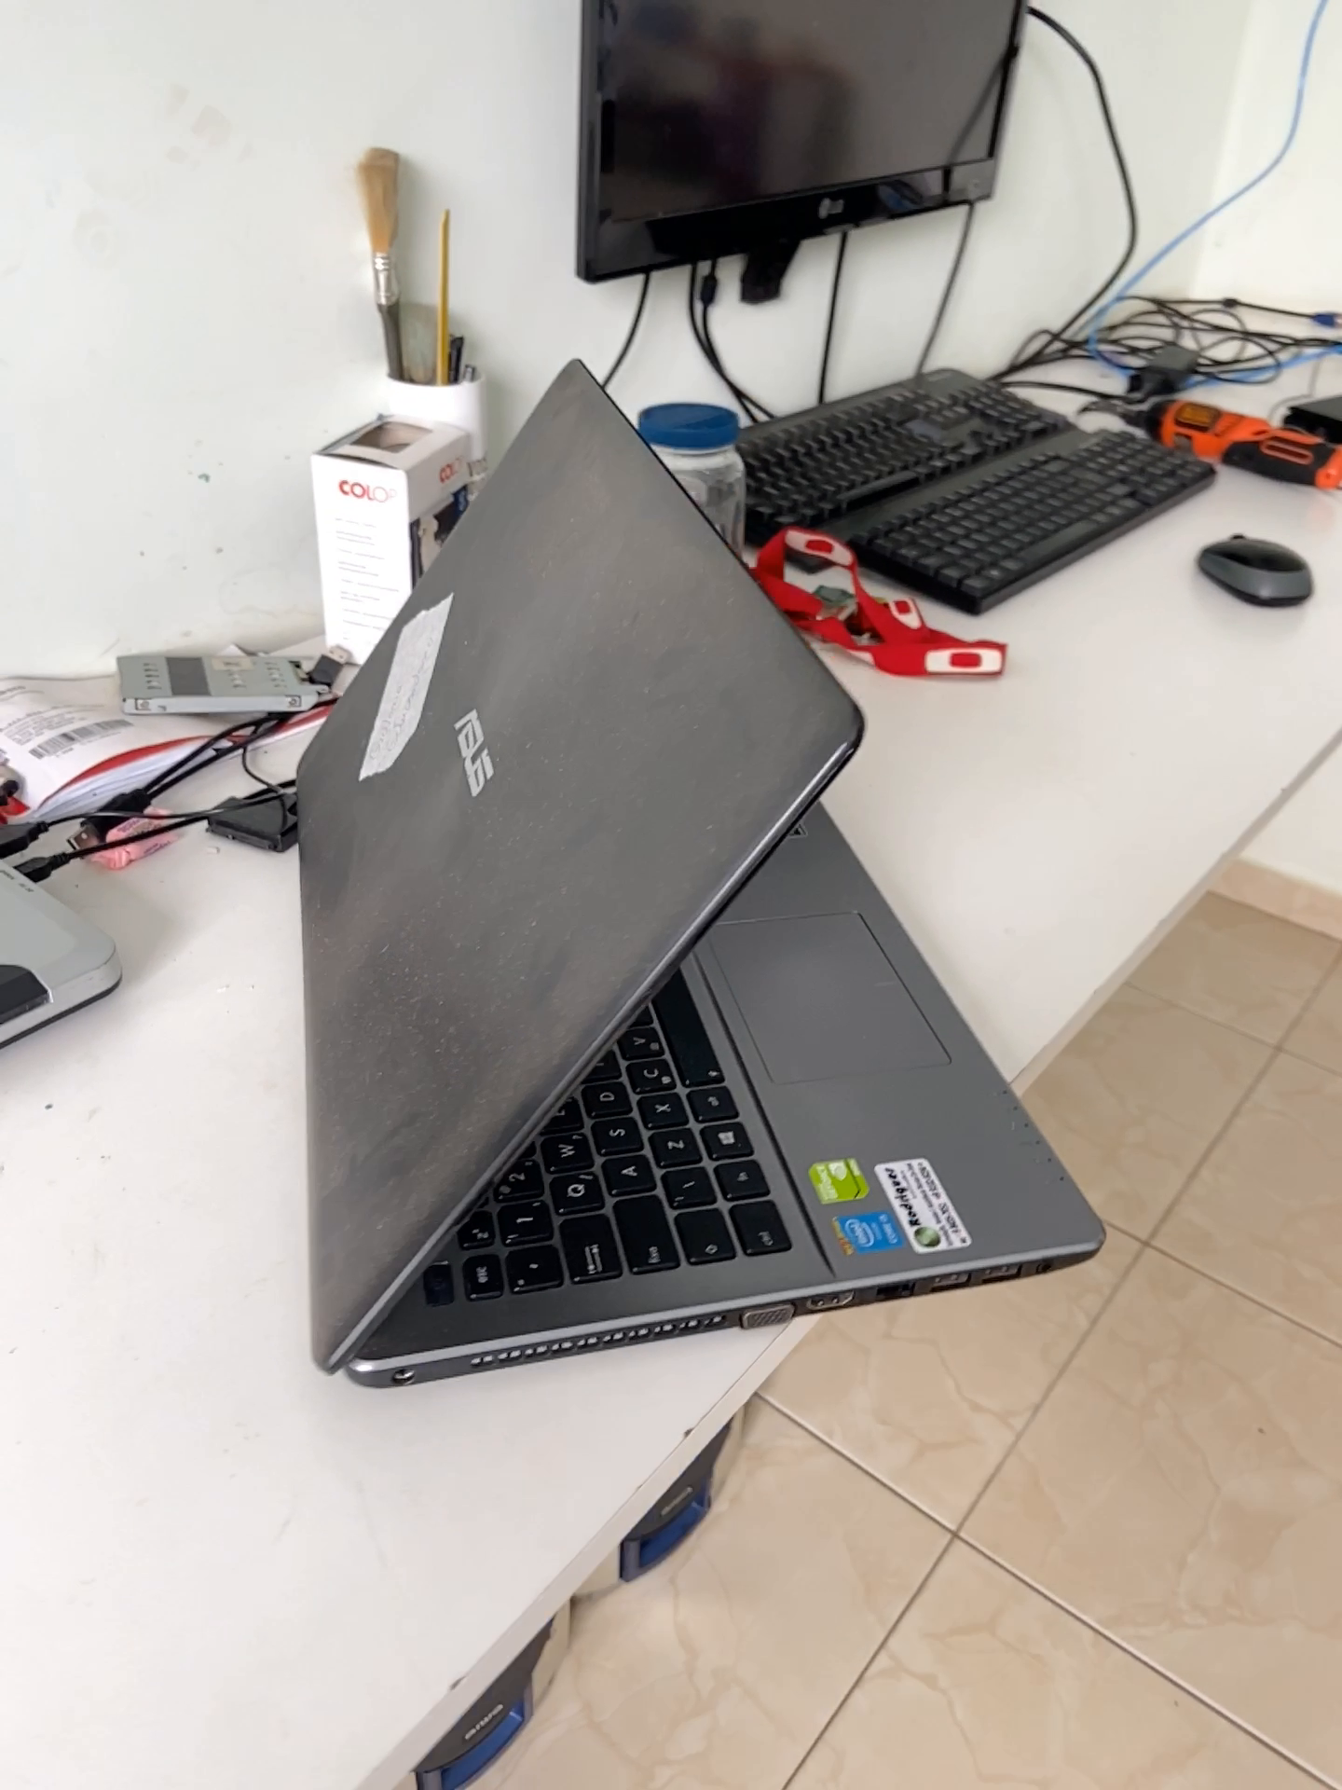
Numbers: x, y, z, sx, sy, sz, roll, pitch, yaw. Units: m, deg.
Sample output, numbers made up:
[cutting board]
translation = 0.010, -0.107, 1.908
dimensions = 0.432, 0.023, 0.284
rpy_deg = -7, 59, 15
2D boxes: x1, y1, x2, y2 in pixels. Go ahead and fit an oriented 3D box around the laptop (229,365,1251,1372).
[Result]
[laptop]
translation = -0.022, -0.054, 0.516
dimensions = 0.245, 0.190, 0.366
rpy_deg = -6, 34, -13
